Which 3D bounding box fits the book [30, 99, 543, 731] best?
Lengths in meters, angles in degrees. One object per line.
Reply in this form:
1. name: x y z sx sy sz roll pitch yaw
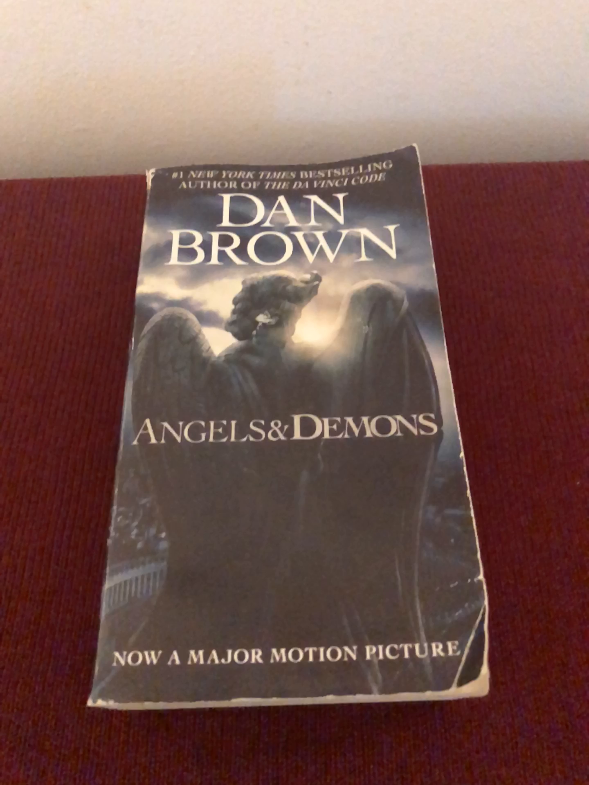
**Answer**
1. book: -0.005 -0.007 0.221 0.120 0.040 0.211 -4 61 3
